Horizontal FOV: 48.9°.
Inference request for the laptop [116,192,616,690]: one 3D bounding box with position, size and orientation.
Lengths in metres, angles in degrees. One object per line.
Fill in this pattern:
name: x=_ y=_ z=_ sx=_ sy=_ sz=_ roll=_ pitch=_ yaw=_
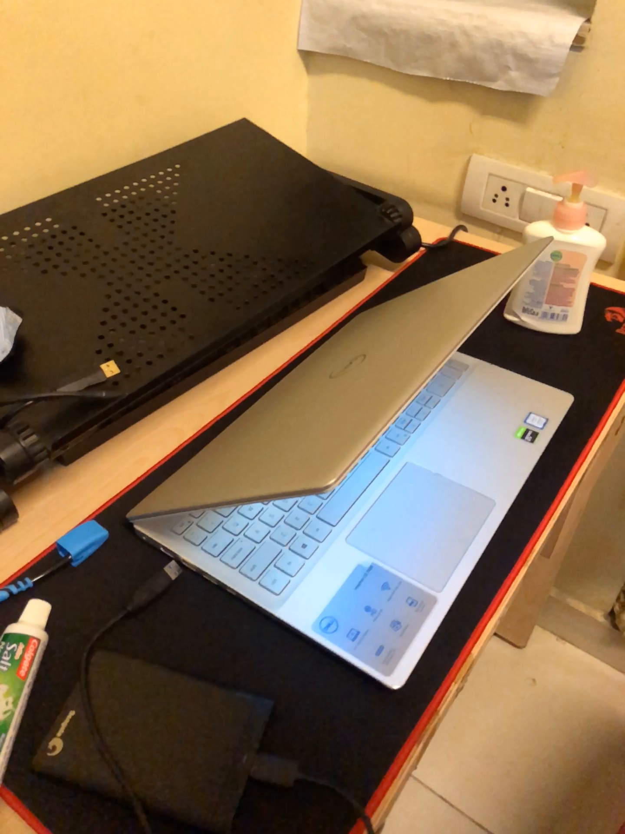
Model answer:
laptop: x=0.063 y=-0.019 z=0.549 sx=0.218 sy=0.139 sz=0.352 roll=26 pitch=47 yaw=22
